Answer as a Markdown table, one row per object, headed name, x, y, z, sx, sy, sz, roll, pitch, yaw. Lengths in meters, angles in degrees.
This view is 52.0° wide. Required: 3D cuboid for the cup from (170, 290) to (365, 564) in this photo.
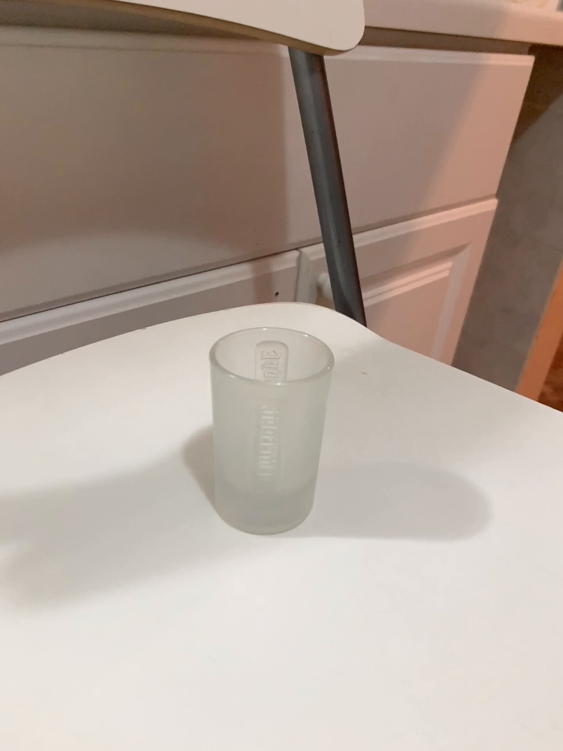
| name | x | y | z | sx | sy | sz | roll | pitch | yaw |
| --- | --- | --- | --- | --- | --- | --- | --- | --- | --- |
| cup | -0.007 | 0.017 | 0.210 | 0.042 | 0.075 | 0.049 | 29 | 38 | 34 |
